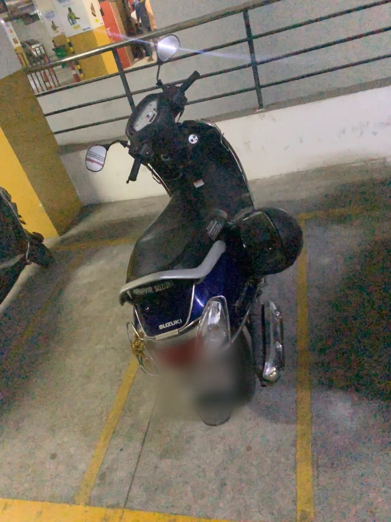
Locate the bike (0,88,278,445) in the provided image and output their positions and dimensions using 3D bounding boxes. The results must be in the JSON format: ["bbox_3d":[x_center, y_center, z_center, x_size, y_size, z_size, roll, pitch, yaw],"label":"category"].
[{"bbox_3d":[-0.108,-0.097,1.999,0.622,1.156,1.481,-13,30,8],"label":"bike"}]
